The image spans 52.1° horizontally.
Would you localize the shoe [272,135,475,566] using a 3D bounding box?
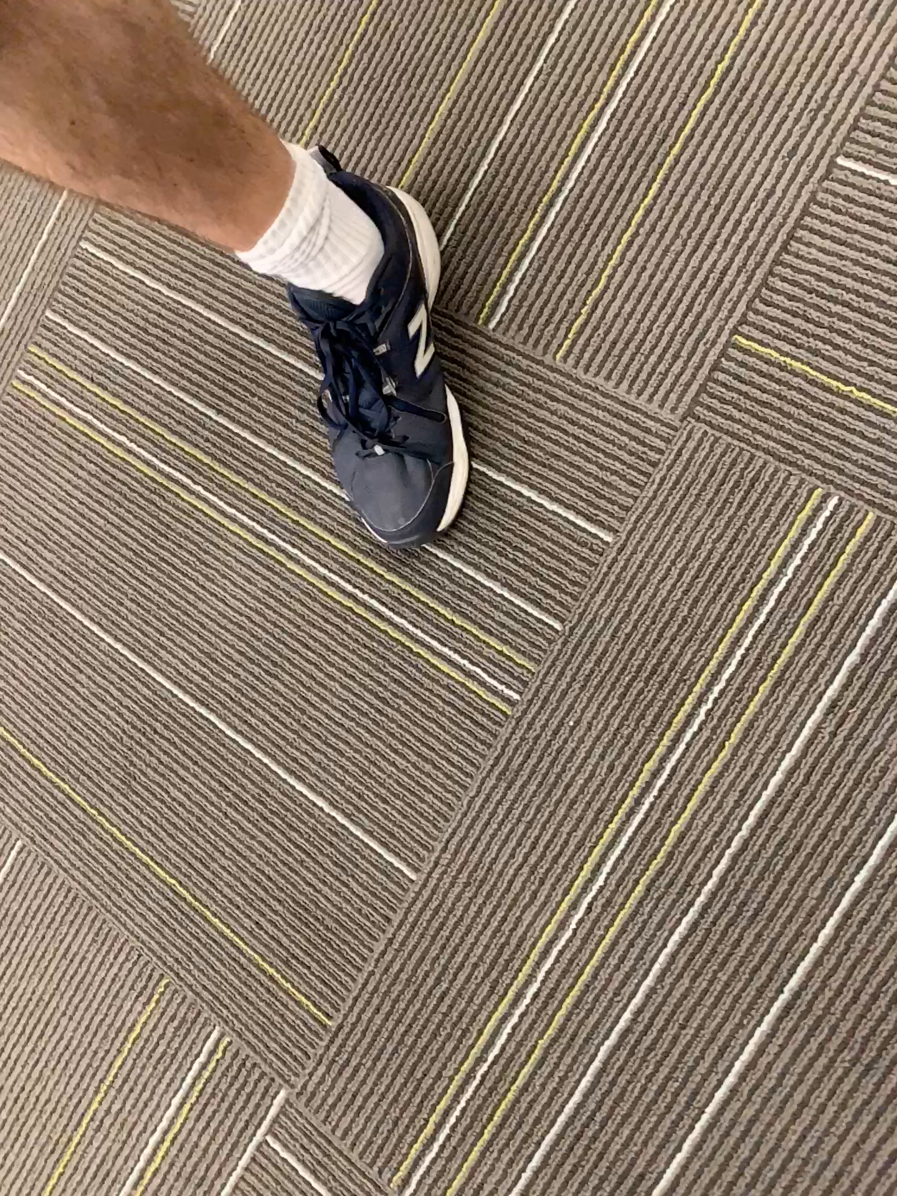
[{"bbox_3d":[-0.062,-0.190,0.737,0.130,0.070,0.310,-6,83,21],"label":"shoe"}]
